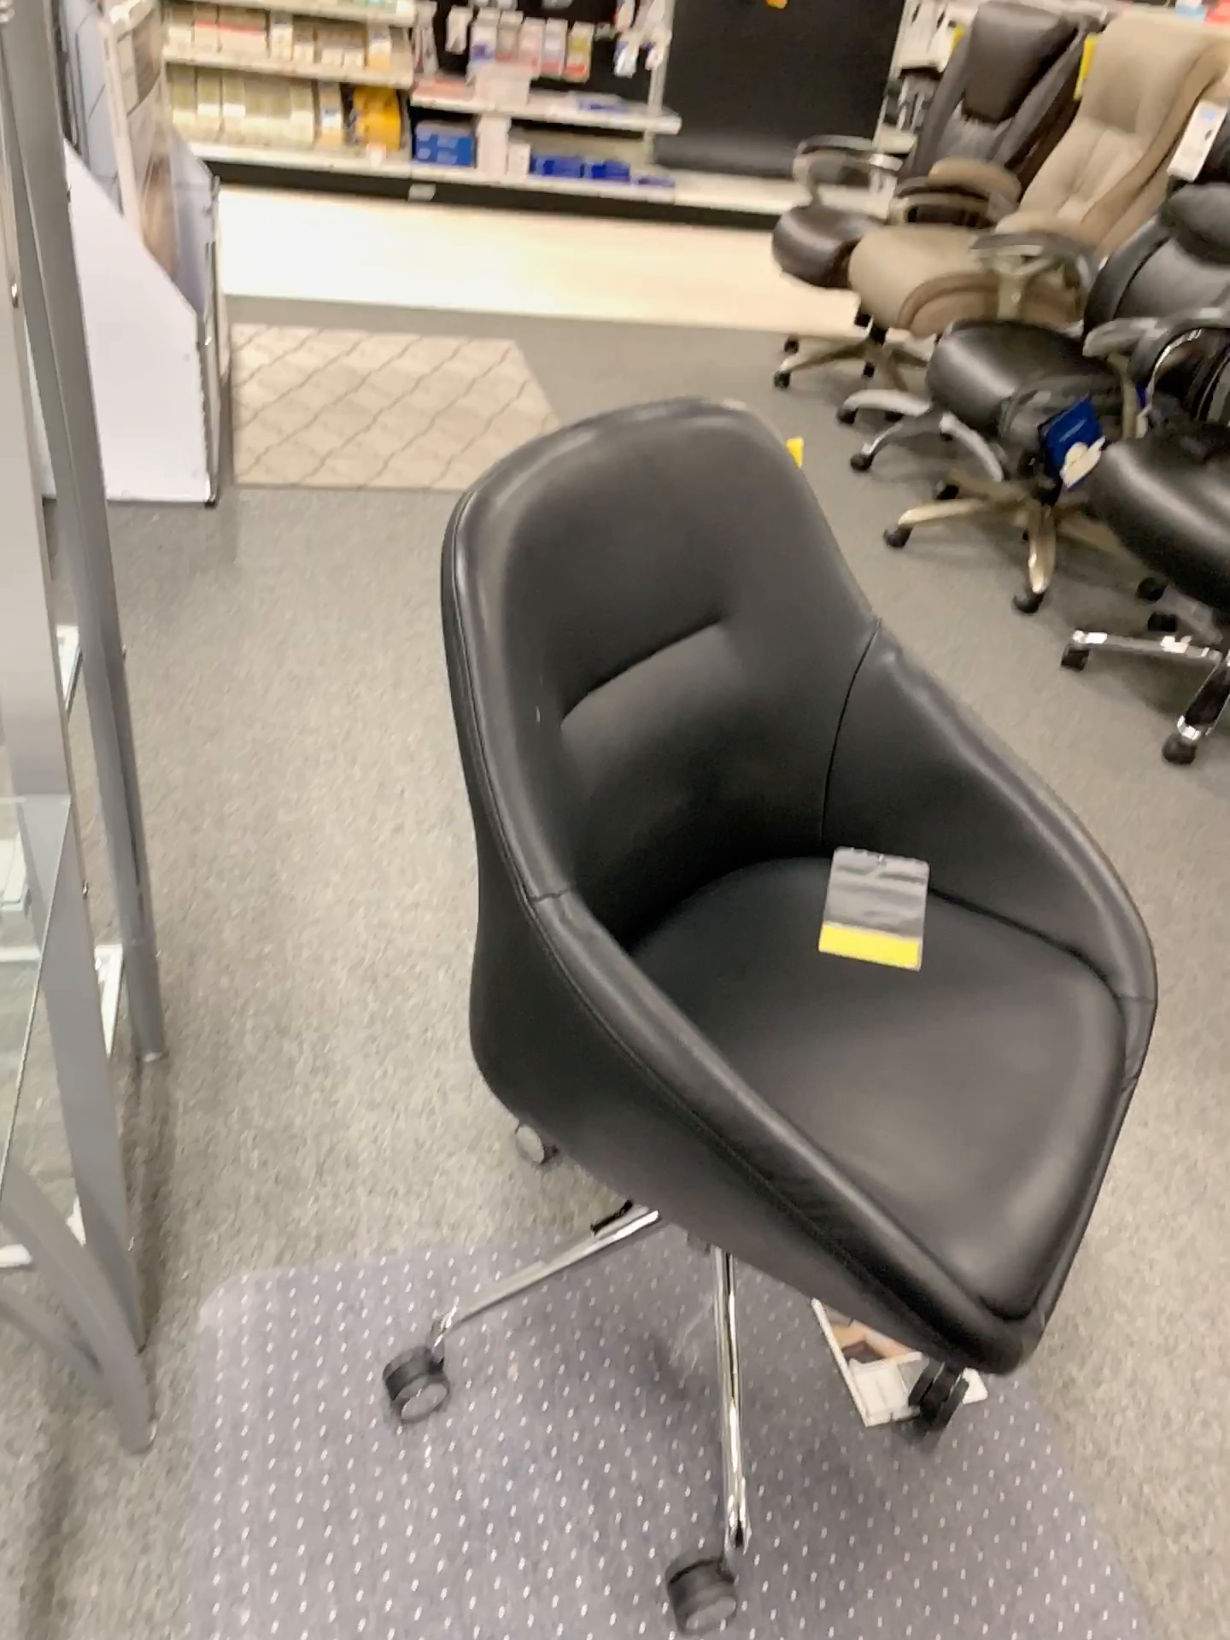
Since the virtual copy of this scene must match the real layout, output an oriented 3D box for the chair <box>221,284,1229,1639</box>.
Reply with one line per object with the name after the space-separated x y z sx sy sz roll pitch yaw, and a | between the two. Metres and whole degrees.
0.168 0.138 1.066 0.621 0.885 0.673 25 39 20 | chair
